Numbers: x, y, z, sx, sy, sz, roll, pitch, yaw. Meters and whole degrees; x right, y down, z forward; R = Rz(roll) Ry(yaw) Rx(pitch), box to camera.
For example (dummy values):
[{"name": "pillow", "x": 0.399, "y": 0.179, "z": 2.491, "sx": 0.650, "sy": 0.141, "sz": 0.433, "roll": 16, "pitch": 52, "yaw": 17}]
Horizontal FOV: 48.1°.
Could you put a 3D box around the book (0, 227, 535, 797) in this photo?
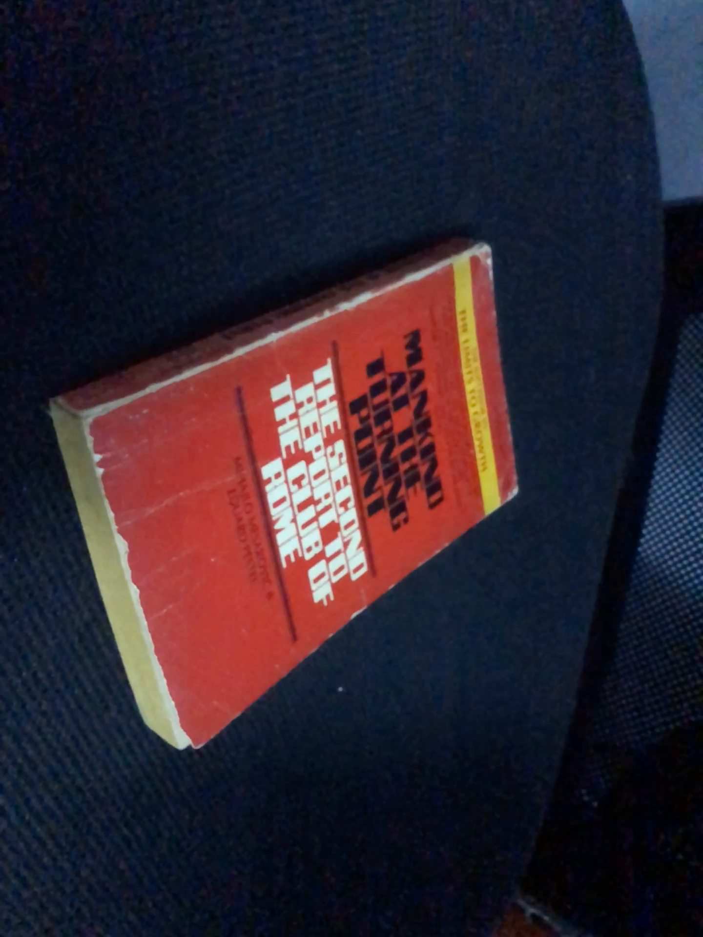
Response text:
[{"name": "book", "x": -0.004, "y": -0.001, "z": 0.271, "sx": 0.195, "sy": 0.025, "sz": 0.117, "roll": -32, "pitch": 121, "yaw": -38}]
